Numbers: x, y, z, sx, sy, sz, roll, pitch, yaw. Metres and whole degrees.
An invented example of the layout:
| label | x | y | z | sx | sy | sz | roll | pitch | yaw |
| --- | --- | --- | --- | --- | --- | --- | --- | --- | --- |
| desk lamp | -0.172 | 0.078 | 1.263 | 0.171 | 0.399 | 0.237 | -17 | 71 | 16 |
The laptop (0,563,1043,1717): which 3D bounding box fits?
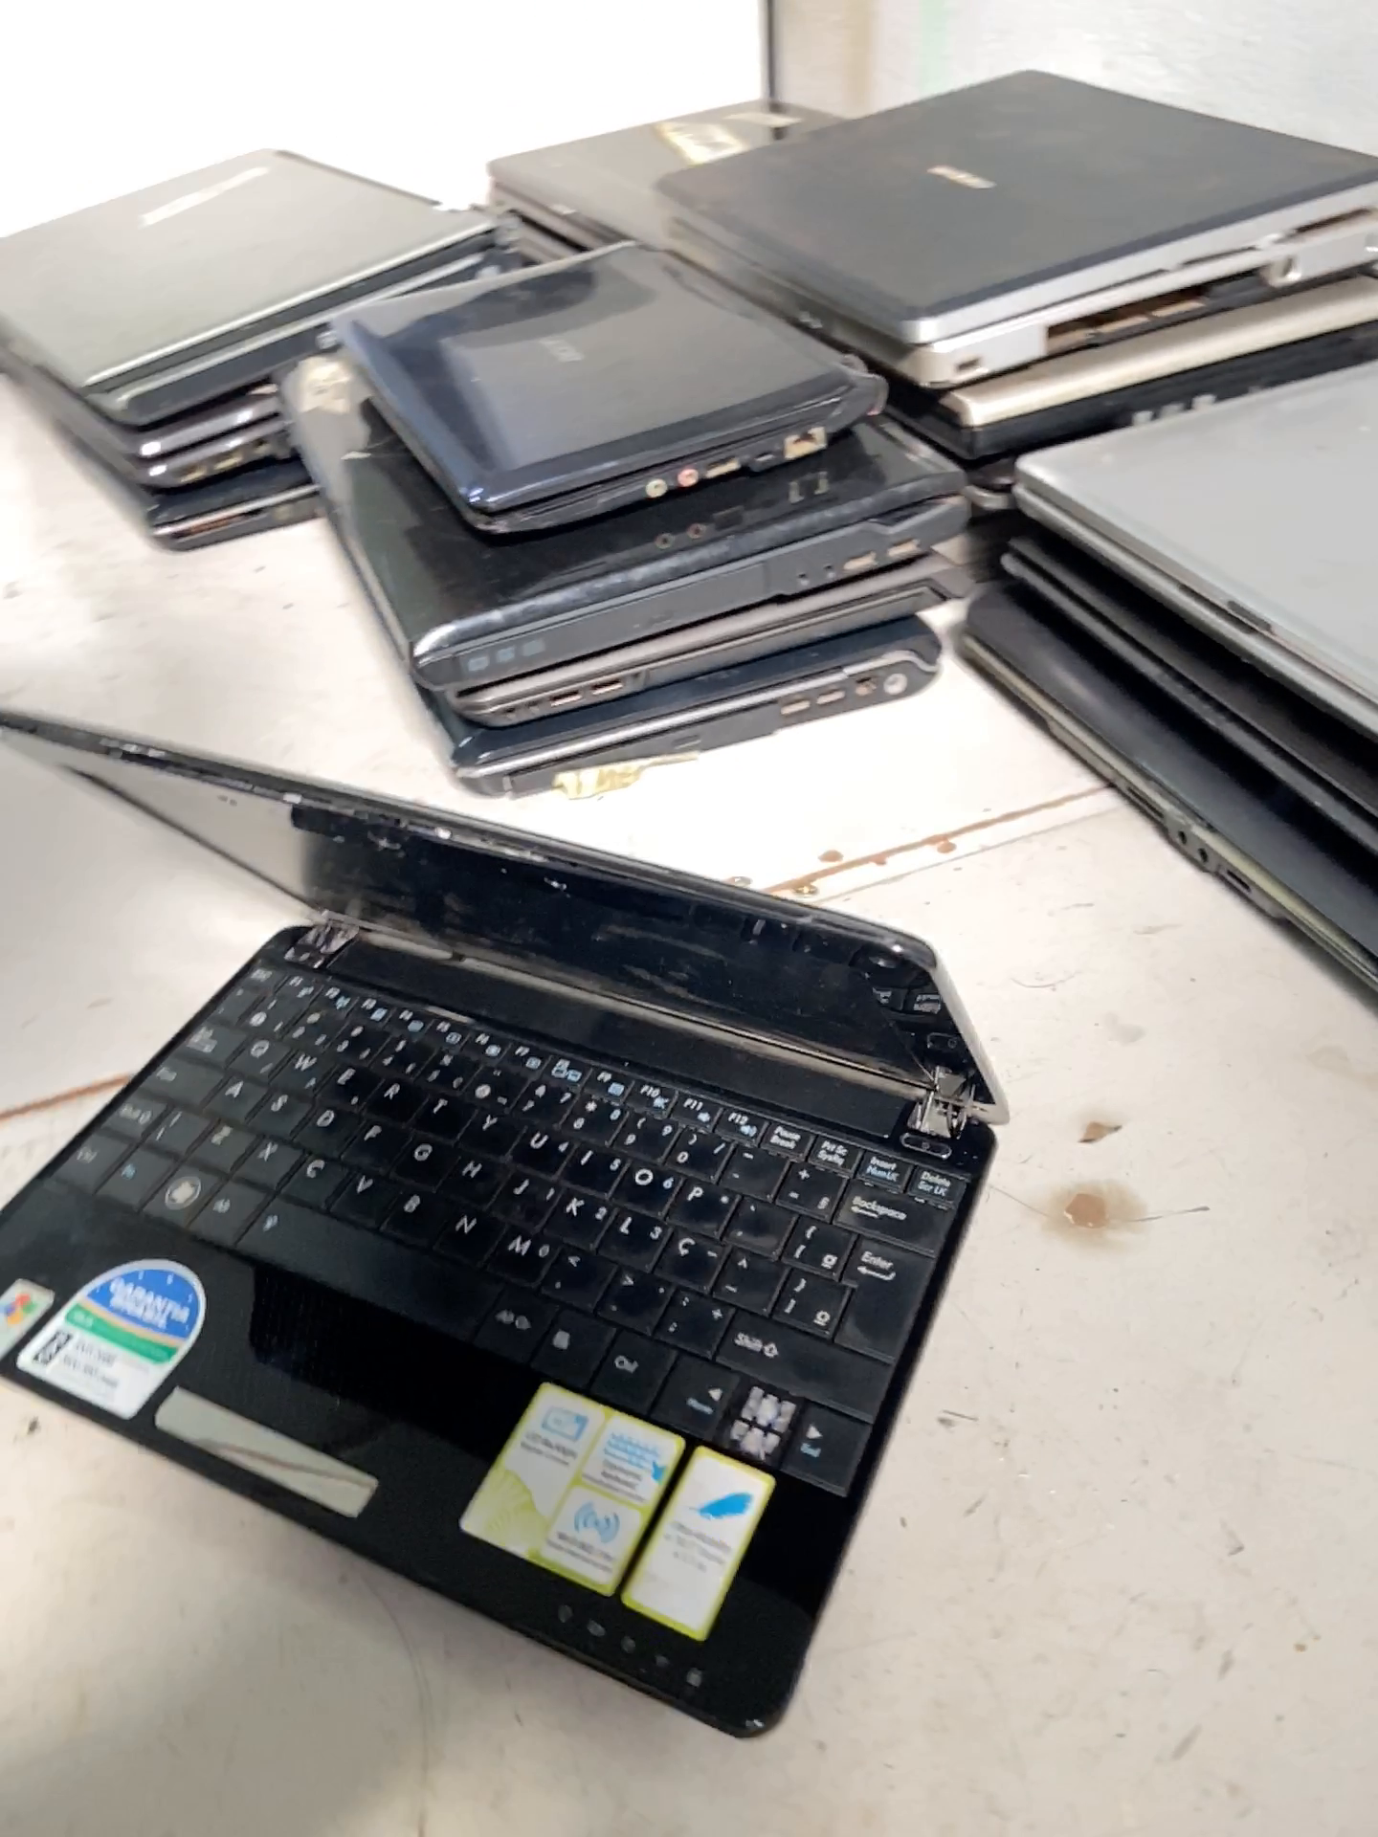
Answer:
| label | x | y | z | sx | sy | sz | roll | pitch | yaw |
| --- | --- | --- | --- | --- | --- | --- | --- | --- | --- |
| laptop | -0.066 | 0.031 | 0.366 | 0.262 | 0.137 | 0.168 | 15 | 43 | 23 |
